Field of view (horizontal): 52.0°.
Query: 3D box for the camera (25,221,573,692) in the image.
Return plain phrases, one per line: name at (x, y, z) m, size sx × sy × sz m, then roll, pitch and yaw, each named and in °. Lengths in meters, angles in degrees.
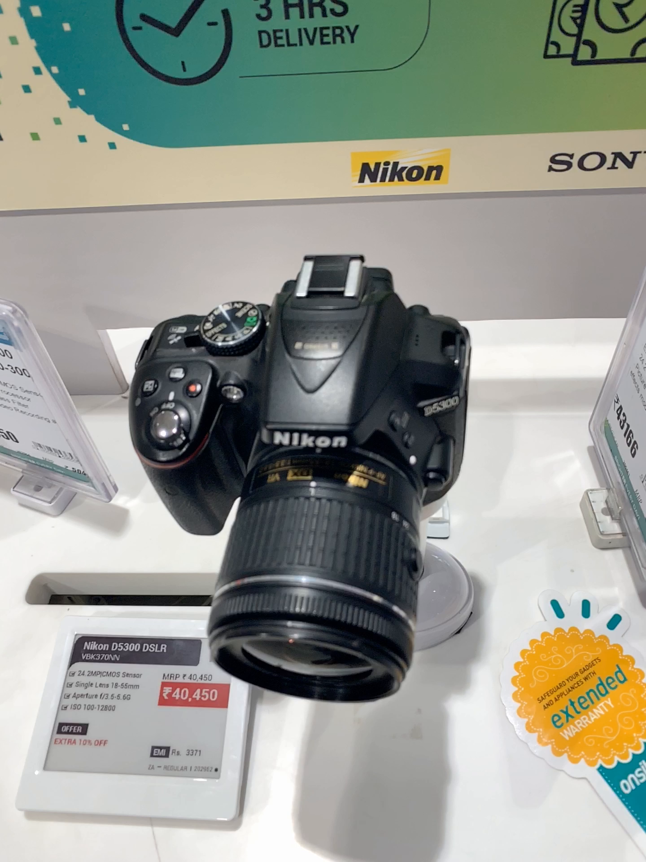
camera at (-0.001, 0.005, 0.213) m, size 0.118 × 0.082 × 0.123 m, roll 0°, pitch 50°, yaw 5°
